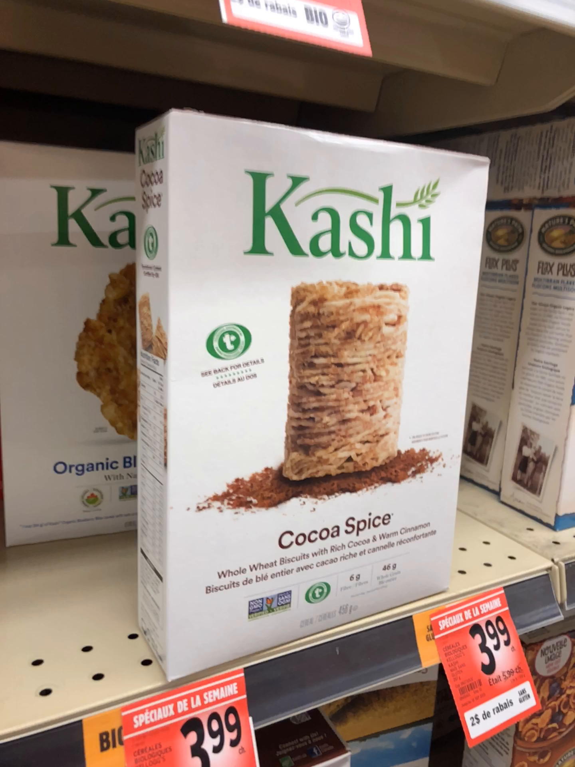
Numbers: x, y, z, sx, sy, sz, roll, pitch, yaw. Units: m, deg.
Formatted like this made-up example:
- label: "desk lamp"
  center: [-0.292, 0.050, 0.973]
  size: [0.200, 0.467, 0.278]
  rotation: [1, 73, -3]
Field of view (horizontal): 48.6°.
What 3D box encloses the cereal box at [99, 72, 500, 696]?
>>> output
- label: "cereal box"
  center: [0.010, -0.001, 0.359]
  size: [0.210, 0.279, 0.060]
  rotation: [-5, 13, -31]
